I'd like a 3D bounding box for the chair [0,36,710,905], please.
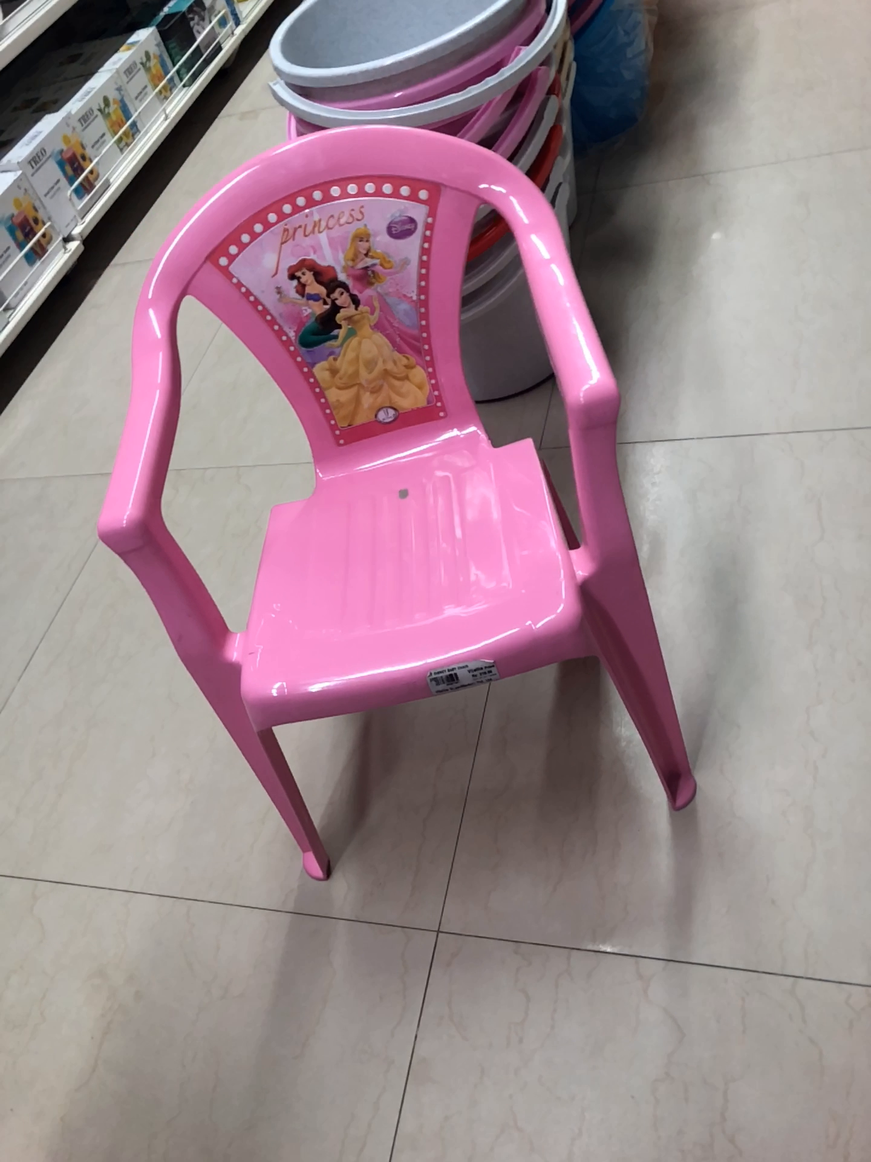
[{"bbox_3d":[-0.041,-0.049,0.739,0.370,0.477,0.352,-15,46,9],"label":"chair"}]
